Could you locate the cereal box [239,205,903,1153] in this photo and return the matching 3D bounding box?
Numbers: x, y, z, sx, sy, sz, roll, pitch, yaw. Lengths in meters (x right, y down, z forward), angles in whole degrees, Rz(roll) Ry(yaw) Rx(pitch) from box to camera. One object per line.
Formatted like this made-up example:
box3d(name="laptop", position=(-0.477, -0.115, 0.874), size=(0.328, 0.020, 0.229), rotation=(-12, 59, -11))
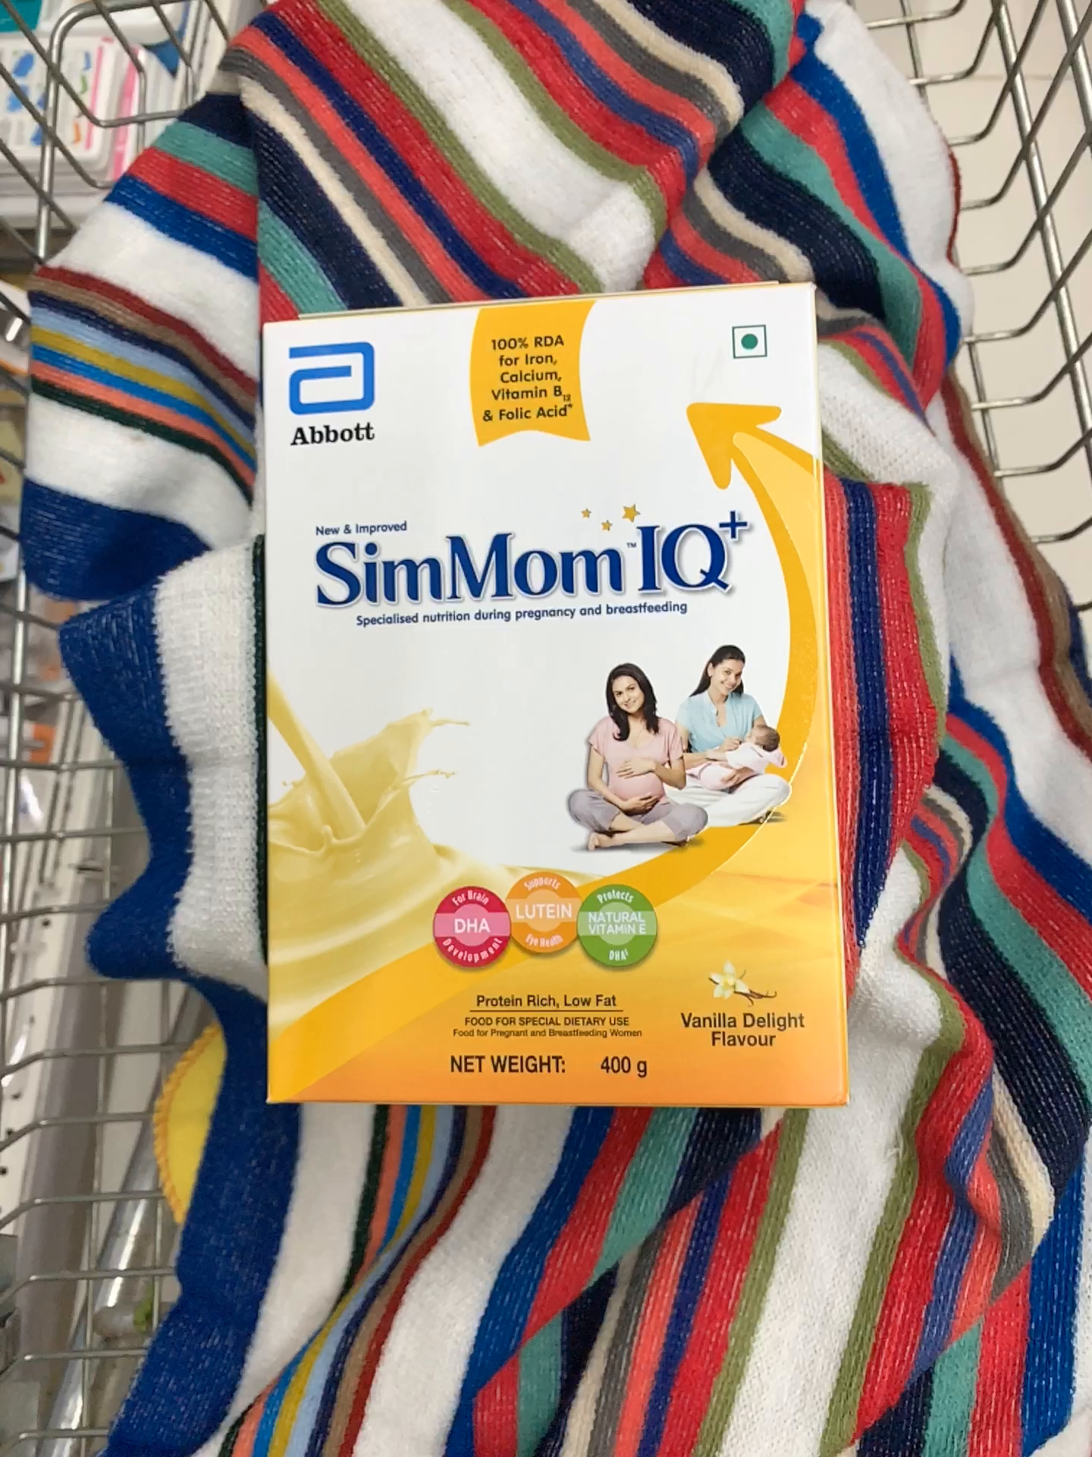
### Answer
box3d(name="cereal box", position=(0.004, -0.010, 0.269), size=(0.140, 0.050, 0.200), rotation=(-1, 86, 6))
